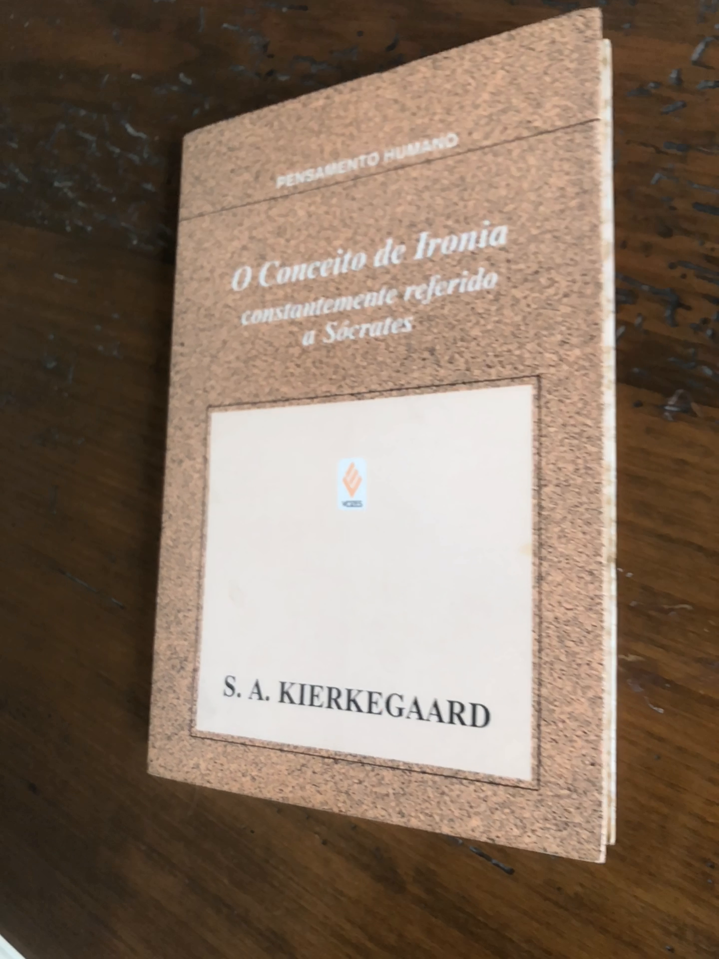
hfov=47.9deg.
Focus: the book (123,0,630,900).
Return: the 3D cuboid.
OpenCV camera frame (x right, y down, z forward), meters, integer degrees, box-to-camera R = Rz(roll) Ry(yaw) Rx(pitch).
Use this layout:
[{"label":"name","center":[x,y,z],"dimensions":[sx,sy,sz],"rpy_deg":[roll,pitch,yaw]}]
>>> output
[{"label":"book","center":[0.001,-0.014,0.235],"dimensions":[0.144,0.024,0.220],"rpy_deg":[-2,83,29]}]
